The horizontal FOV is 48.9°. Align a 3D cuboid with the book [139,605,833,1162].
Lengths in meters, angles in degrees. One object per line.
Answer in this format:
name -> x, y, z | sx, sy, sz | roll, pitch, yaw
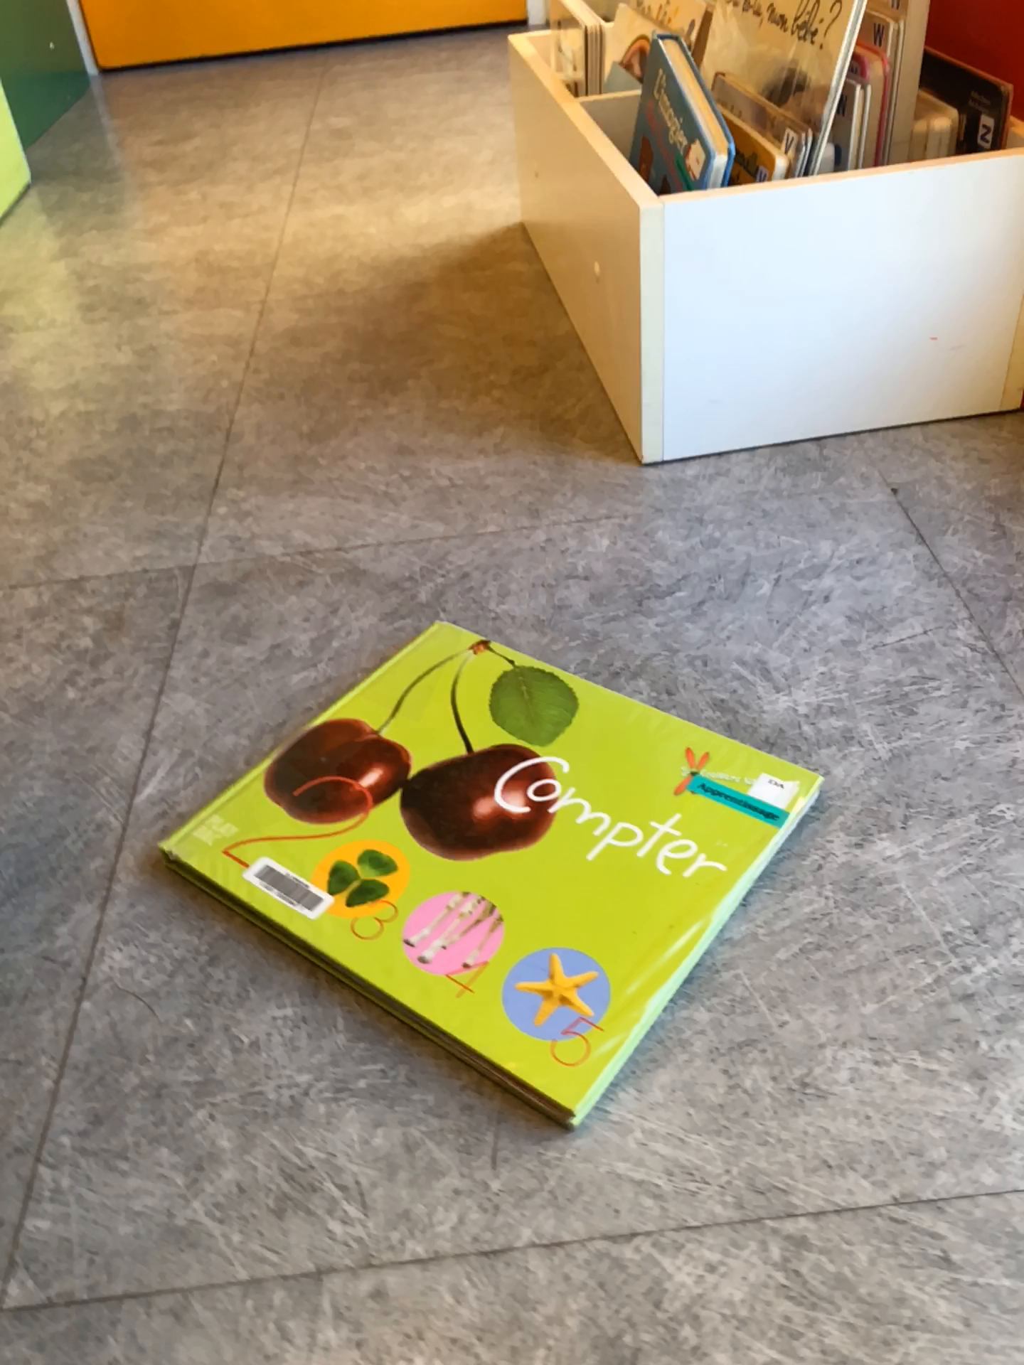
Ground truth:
book -> -0.012, 0.069, 0.552 | 0.255, 0.021, 0.223 | 23, 50, 31
